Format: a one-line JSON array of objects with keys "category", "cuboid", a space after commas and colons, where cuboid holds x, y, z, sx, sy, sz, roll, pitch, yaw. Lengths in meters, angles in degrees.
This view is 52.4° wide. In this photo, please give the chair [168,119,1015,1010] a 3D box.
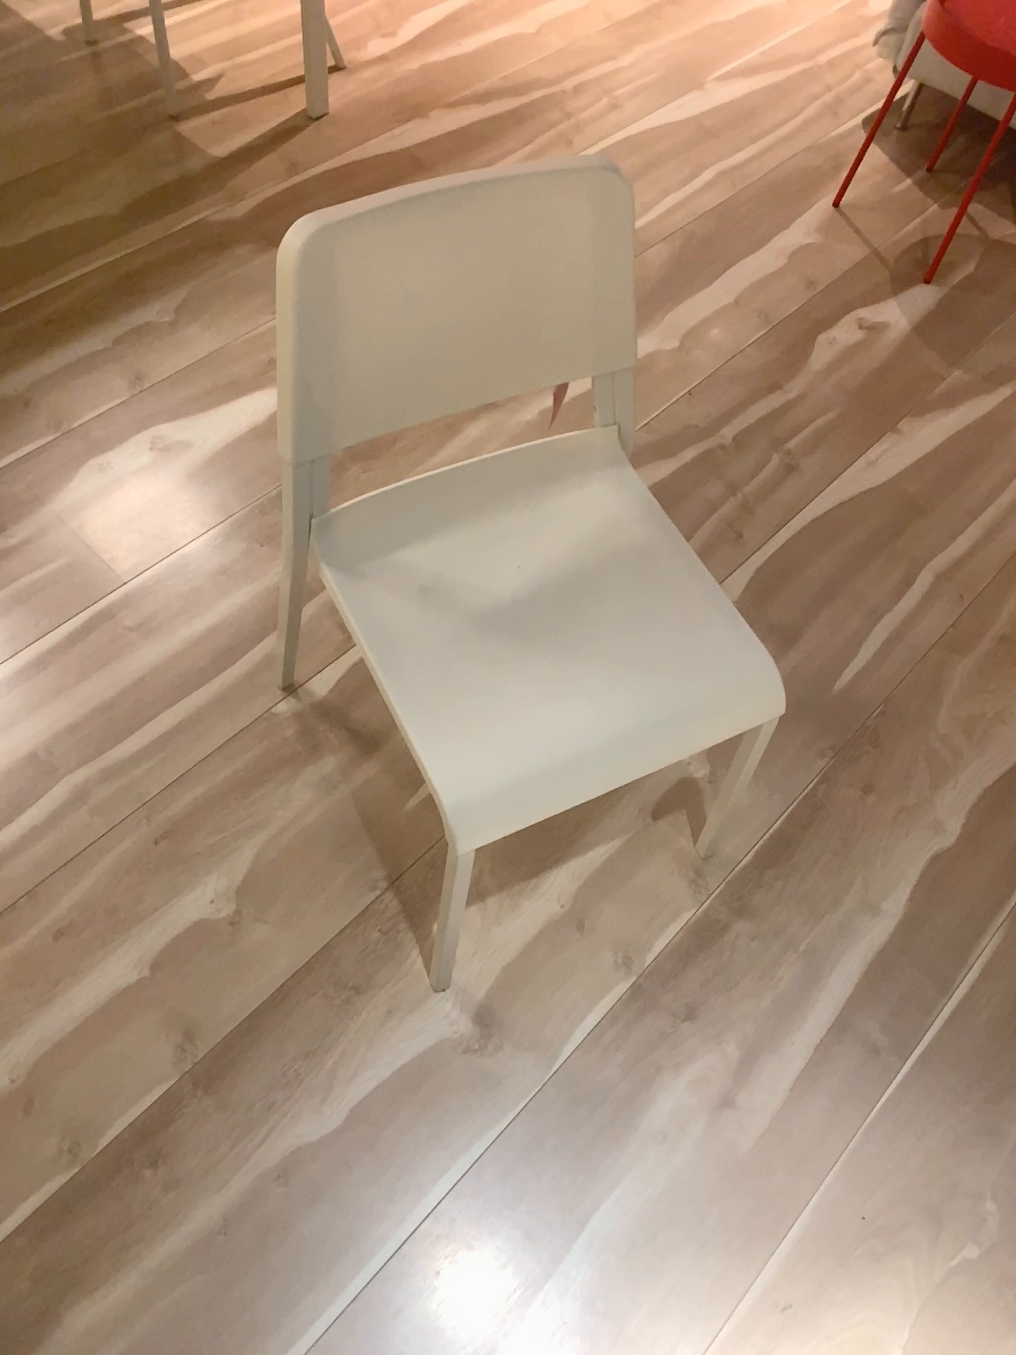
[{"category": "chair", "cuboid": [0.026, -0.084, 1.162, 0.520, 0.709, 0.551, -22, 64, -19]}]
